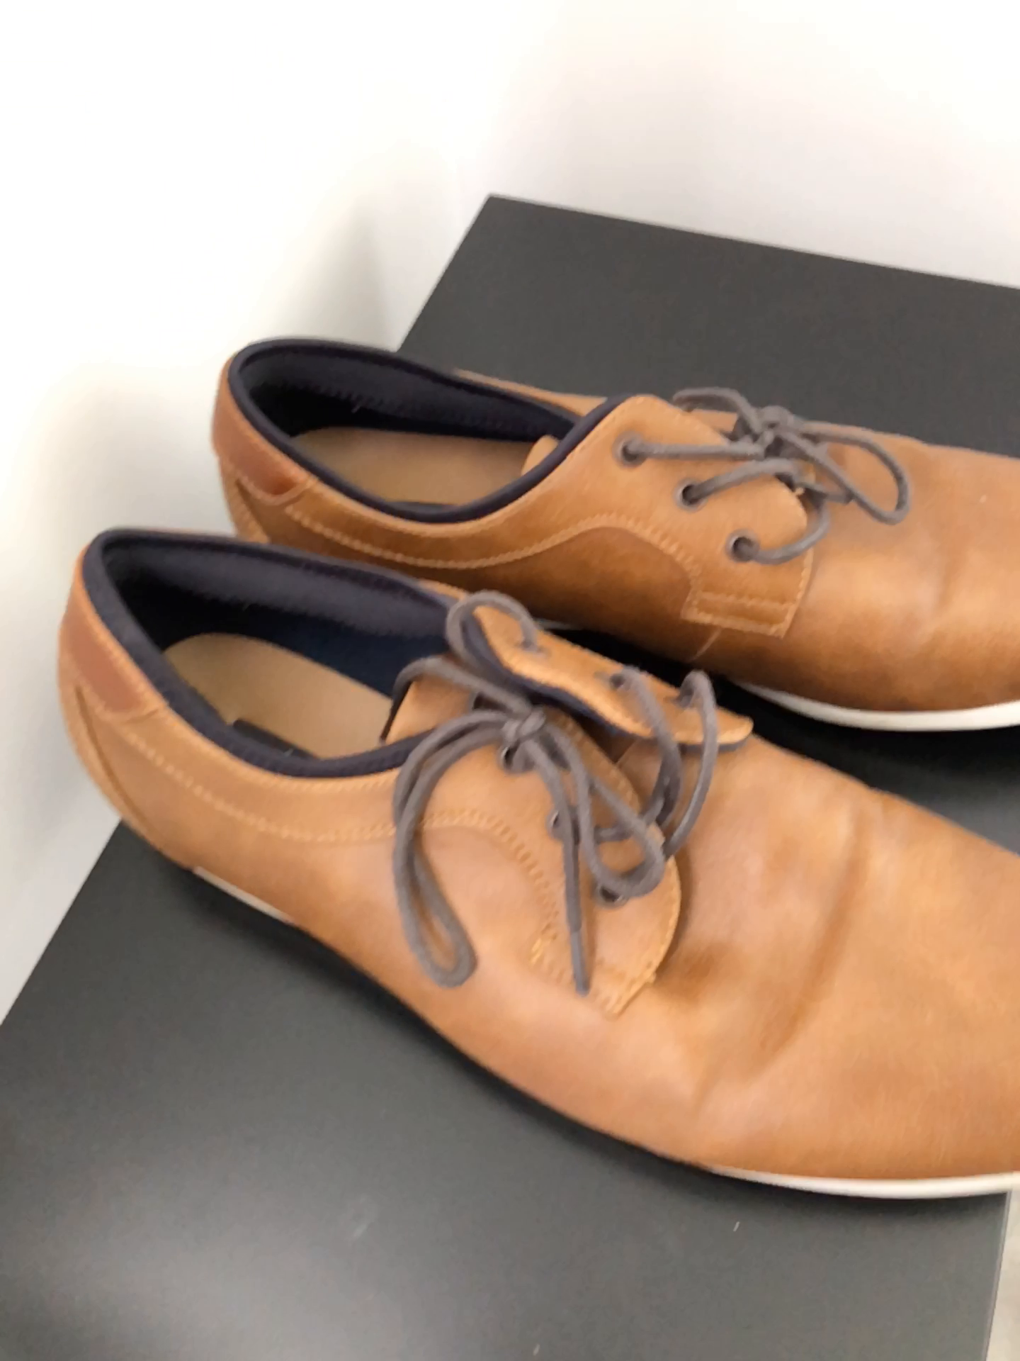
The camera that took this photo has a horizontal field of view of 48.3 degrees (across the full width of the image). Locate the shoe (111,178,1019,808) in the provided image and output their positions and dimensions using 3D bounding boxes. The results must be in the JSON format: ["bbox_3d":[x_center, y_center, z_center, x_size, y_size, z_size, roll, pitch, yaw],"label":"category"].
[{"bbox_3d":[0.050,-0.057,0.333,0.280,0.100,0.104,10,58,10],"label":"shoe"}]

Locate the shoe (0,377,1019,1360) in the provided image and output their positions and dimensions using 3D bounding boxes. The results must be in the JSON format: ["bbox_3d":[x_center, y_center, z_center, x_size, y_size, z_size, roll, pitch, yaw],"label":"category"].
[{"bbox_3d":[0.020,0.037,0.264,0.270,0.100,0.104,20,61,16],"label":"shoe"}]
